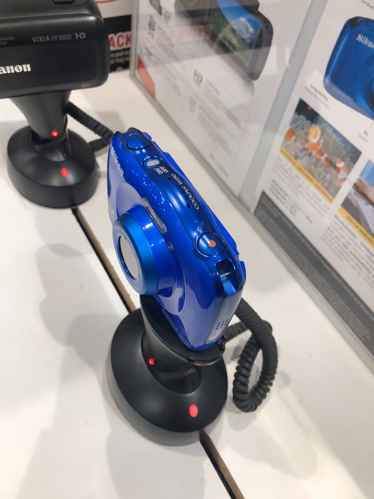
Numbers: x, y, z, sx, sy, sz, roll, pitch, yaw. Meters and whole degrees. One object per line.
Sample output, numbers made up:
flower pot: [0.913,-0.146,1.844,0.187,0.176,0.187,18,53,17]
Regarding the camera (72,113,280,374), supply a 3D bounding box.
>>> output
camera: [-0.013,-0.005,0.195,0.040,0.060,0.100,-22,60,-25]
